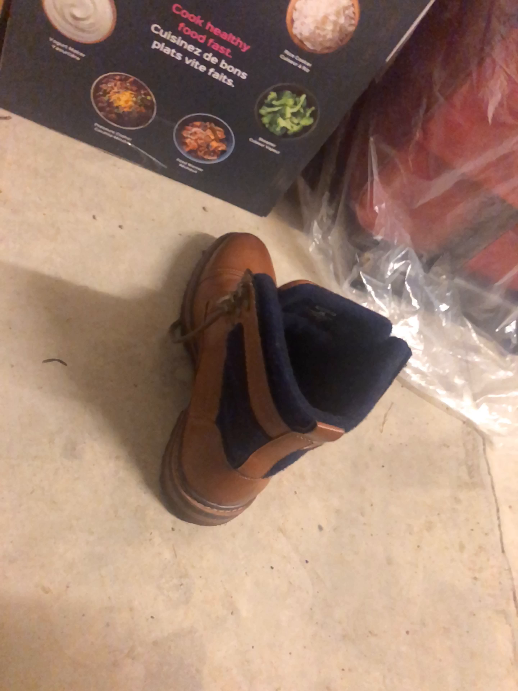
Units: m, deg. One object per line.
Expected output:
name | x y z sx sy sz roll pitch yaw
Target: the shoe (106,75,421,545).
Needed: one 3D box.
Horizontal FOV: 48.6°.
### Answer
shoe | 0.000 -0.023 0.472 0.132 0.201 0.303 20 53 -22
